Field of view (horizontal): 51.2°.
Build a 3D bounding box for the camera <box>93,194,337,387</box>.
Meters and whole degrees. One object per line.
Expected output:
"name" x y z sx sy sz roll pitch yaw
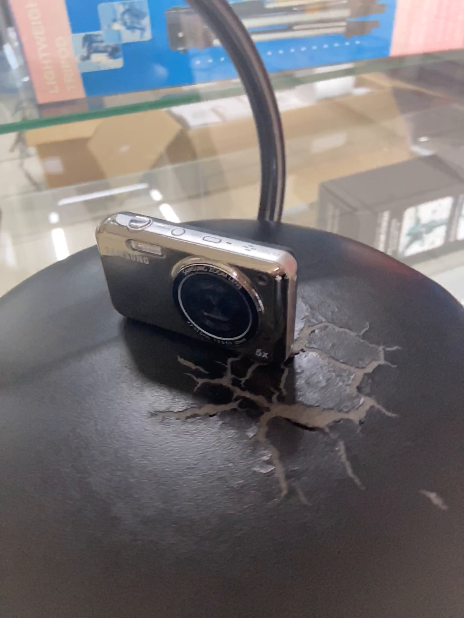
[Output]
"camera" -0.008 -0.011 0.221 0.100 0.060 0.030 16 43 23
